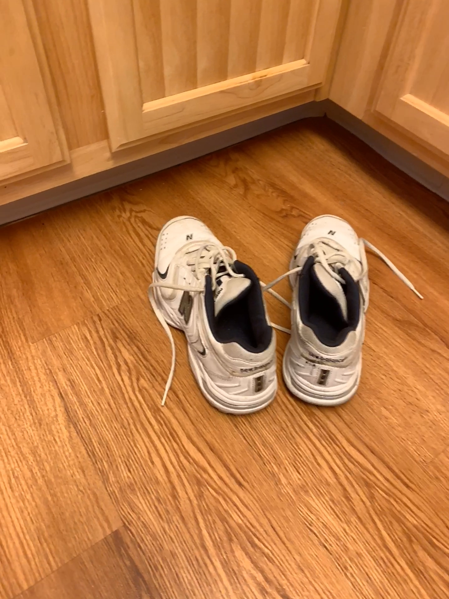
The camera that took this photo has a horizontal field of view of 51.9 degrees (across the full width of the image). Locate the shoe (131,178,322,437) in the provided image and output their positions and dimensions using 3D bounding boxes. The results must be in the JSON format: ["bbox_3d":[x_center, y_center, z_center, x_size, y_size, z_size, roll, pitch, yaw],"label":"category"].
[{"bbox_3d":[-0.014,-0.006,0.545,0.110,0.109,0.281,-16,53,-16],"label":"shoe"}]

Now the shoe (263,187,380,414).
[{"bbox_3d":[0.127,-0.011,0.611,0.110,0.109,0.281,9,51,4],"label":"shoe"}]
